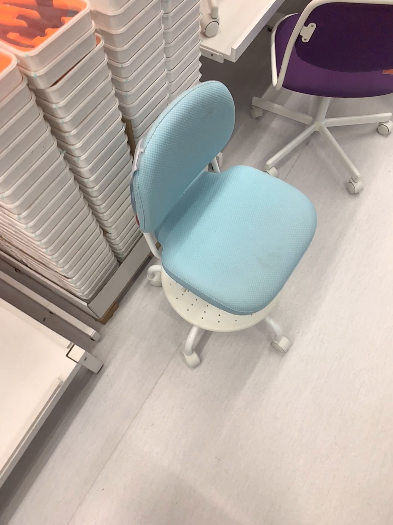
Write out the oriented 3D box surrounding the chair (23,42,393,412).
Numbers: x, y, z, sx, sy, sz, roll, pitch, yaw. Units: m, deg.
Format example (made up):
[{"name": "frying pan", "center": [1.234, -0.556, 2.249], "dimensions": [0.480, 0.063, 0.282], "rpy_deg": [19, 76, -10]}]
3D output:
[{"name": "chair", "center": [0.079, -0.026, 1.158], "dimensions": [0.610, 0.749, 0.570], "rpy_deg": [28, 70, 15]}]
